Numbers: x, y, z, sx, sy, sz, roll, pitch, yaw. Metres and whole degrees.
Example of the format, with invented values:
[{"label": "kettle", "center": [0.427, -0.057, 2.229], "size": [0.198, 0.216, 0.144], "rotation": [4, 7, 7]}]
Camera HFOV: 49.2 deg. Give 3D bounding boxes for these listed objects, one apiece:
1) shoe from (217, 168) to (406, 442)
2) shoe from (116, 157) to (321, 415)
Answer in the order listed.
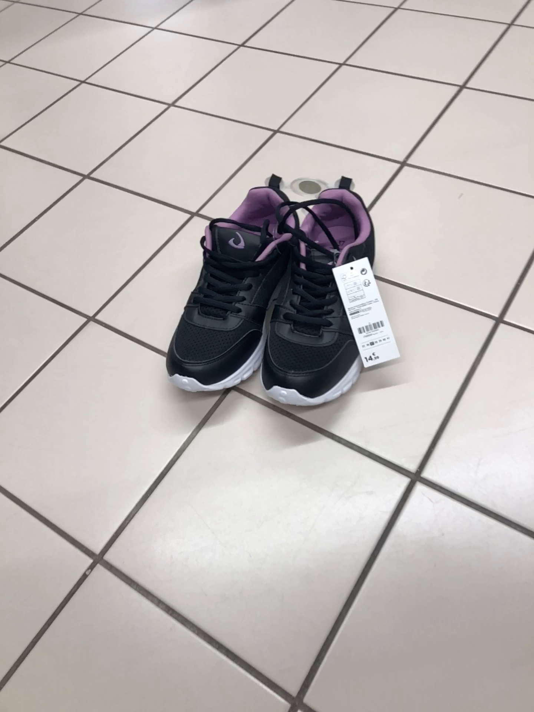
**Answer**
[{"label": "shoe", "center": [0.054, -0.062, 0.578], "size": [0.110, 0.090, 0.261], "rotation": [13, 56, 13]}, {"label": "shoe", "center": [-0.034, -0.083, 0.598], "size": [0.110, 0.090, 0.261], "rotation": [11, 56, 16]}]
